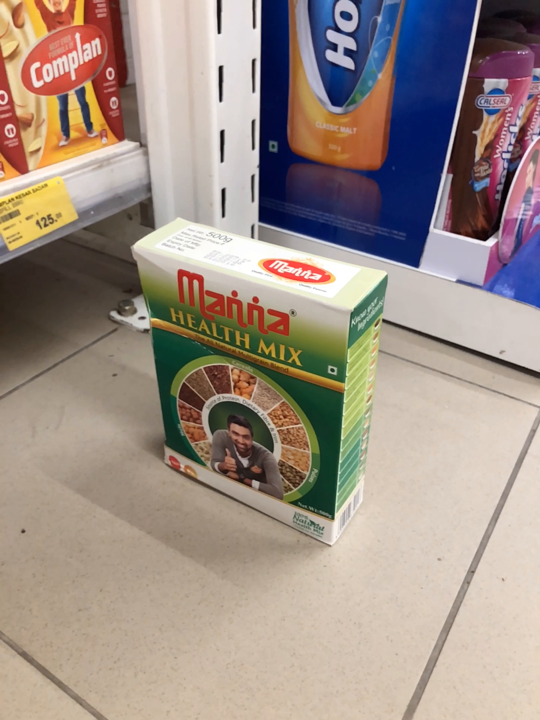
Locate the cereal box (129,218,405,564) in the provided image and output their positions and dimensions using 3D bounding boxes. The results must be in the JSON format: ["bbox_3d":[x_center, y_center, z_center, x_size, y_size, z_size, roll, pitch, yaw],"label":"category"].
[{"bbox_3d":[-0.006,0.021,0.389,0.150,0.189,0.050,19,38,24],"label":"cereal box"}]
